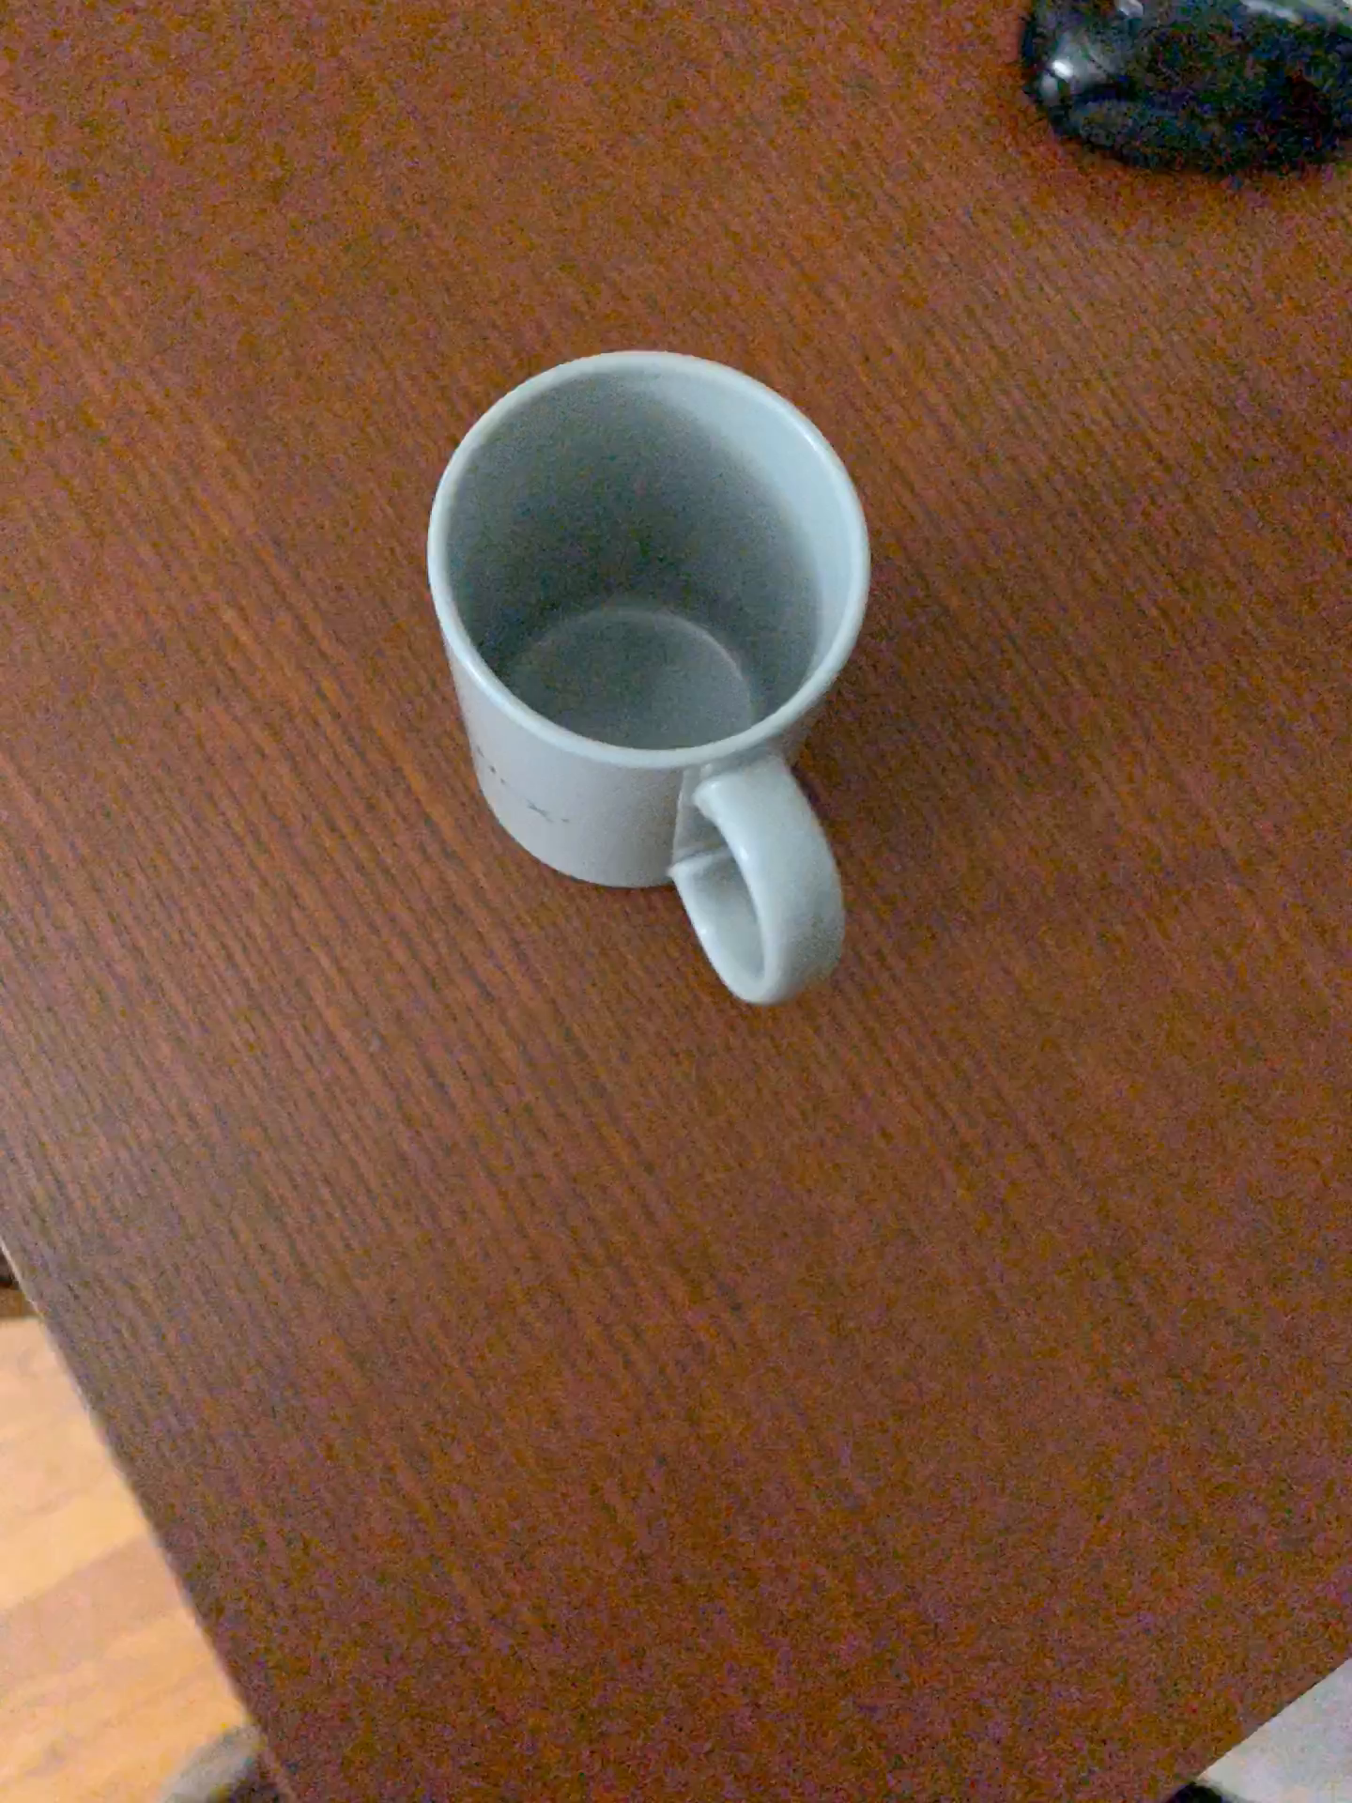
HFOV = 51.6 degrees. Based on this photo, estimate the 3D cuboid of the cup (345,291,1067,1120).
[{"bbox_3d":[0.000,-0.036,0.327,0.100,0.110,0.140,-18,80,-8],"label":"cup"}]
